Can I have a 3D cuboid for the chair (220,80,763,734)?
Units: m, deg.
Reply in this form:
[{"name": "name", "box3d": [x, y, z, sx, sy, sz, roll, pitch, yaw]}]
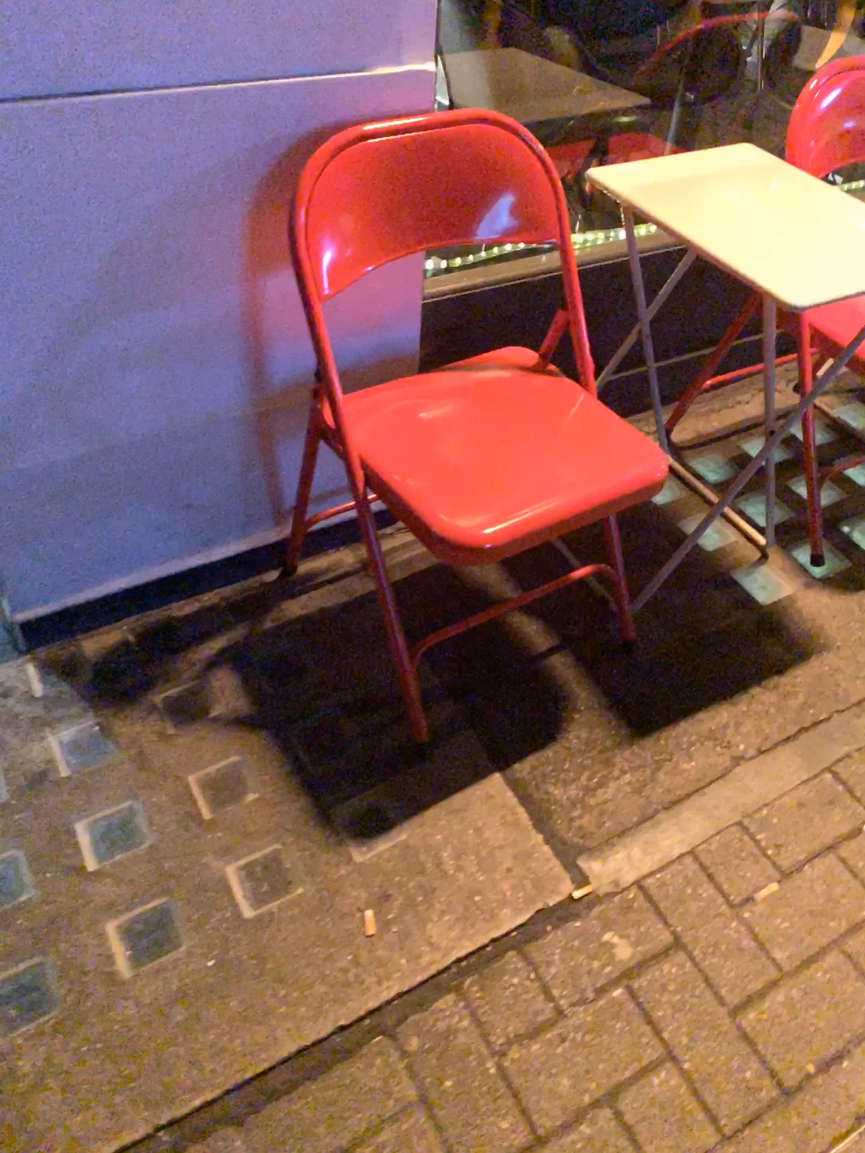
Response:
[{"name": "chair", "box3d": [0.033, -0.265, 1.364, 0.471, 0.742, 0.534, -21, 49, -25]}]
